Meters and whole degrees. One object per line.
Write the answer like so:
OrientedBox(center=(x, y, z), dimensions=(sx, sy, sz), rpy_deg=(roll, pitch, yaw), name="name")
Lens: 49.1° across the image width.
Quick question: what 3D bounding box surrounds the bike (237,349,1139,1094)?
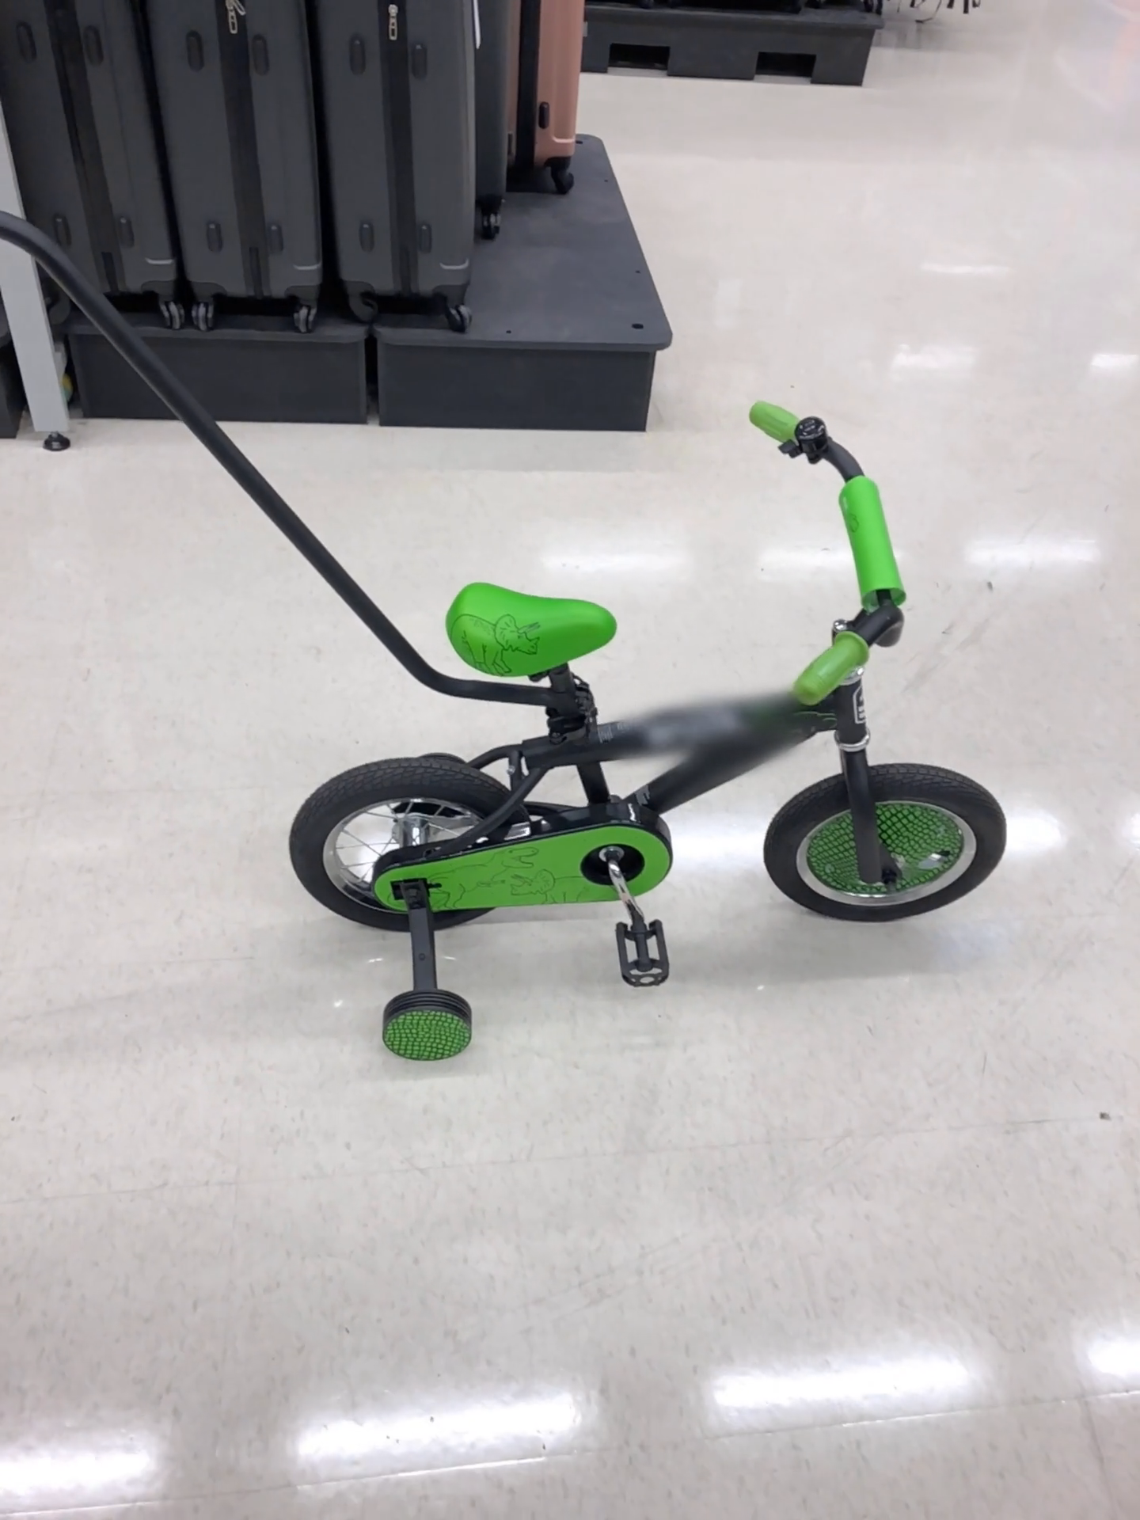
OrientedBox(center=(0.124, -0.038, 1.380), dimensions=(0.846, 0.599, 0.494), rpy_deg=(-2, 44, -3), name="bike")
